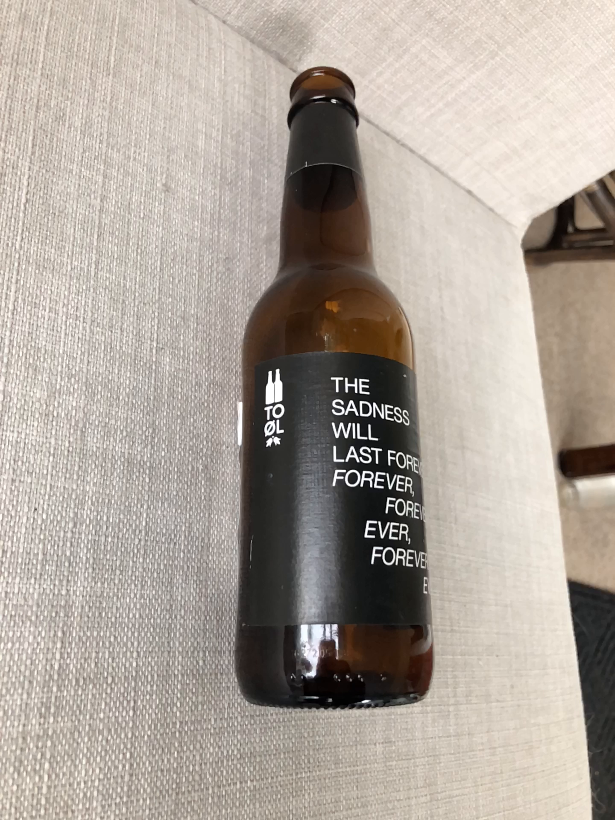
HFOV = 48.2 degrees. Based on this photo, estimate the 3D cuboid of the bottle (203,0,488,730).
[{"bbox_3d":[0.013,-0.026,0.239,0.060,0.060,0.239,17,67,-42],"label":"bottle"}]
